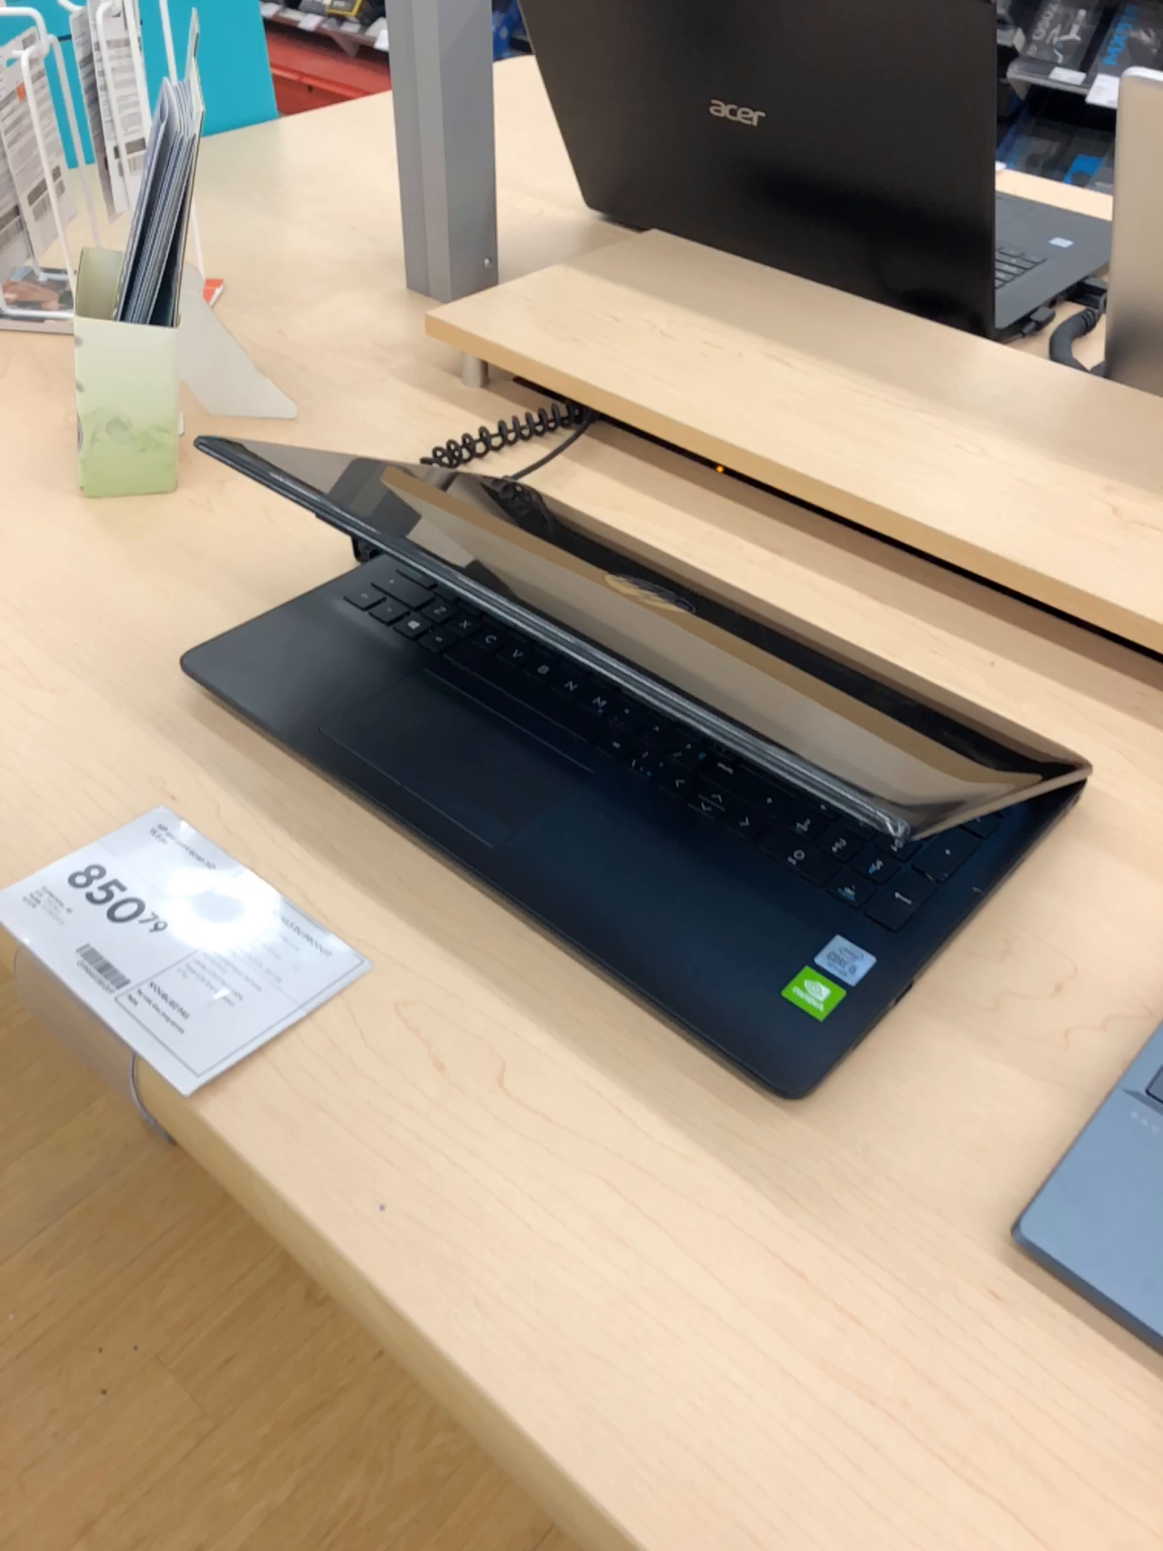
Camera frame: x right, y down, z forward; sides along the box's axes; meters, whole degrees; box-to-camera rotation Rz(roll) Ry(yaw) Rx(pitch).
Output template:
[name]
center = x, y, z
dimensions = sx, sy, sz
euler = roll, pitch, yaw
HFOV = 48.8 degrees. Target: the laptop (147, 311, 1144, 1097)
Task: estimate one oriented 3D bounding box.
[laptop]
center = 0.016, -0.072, 0.587
dimensions = 0.372, 0.115, 0.239
euler = 32, 49, 30
